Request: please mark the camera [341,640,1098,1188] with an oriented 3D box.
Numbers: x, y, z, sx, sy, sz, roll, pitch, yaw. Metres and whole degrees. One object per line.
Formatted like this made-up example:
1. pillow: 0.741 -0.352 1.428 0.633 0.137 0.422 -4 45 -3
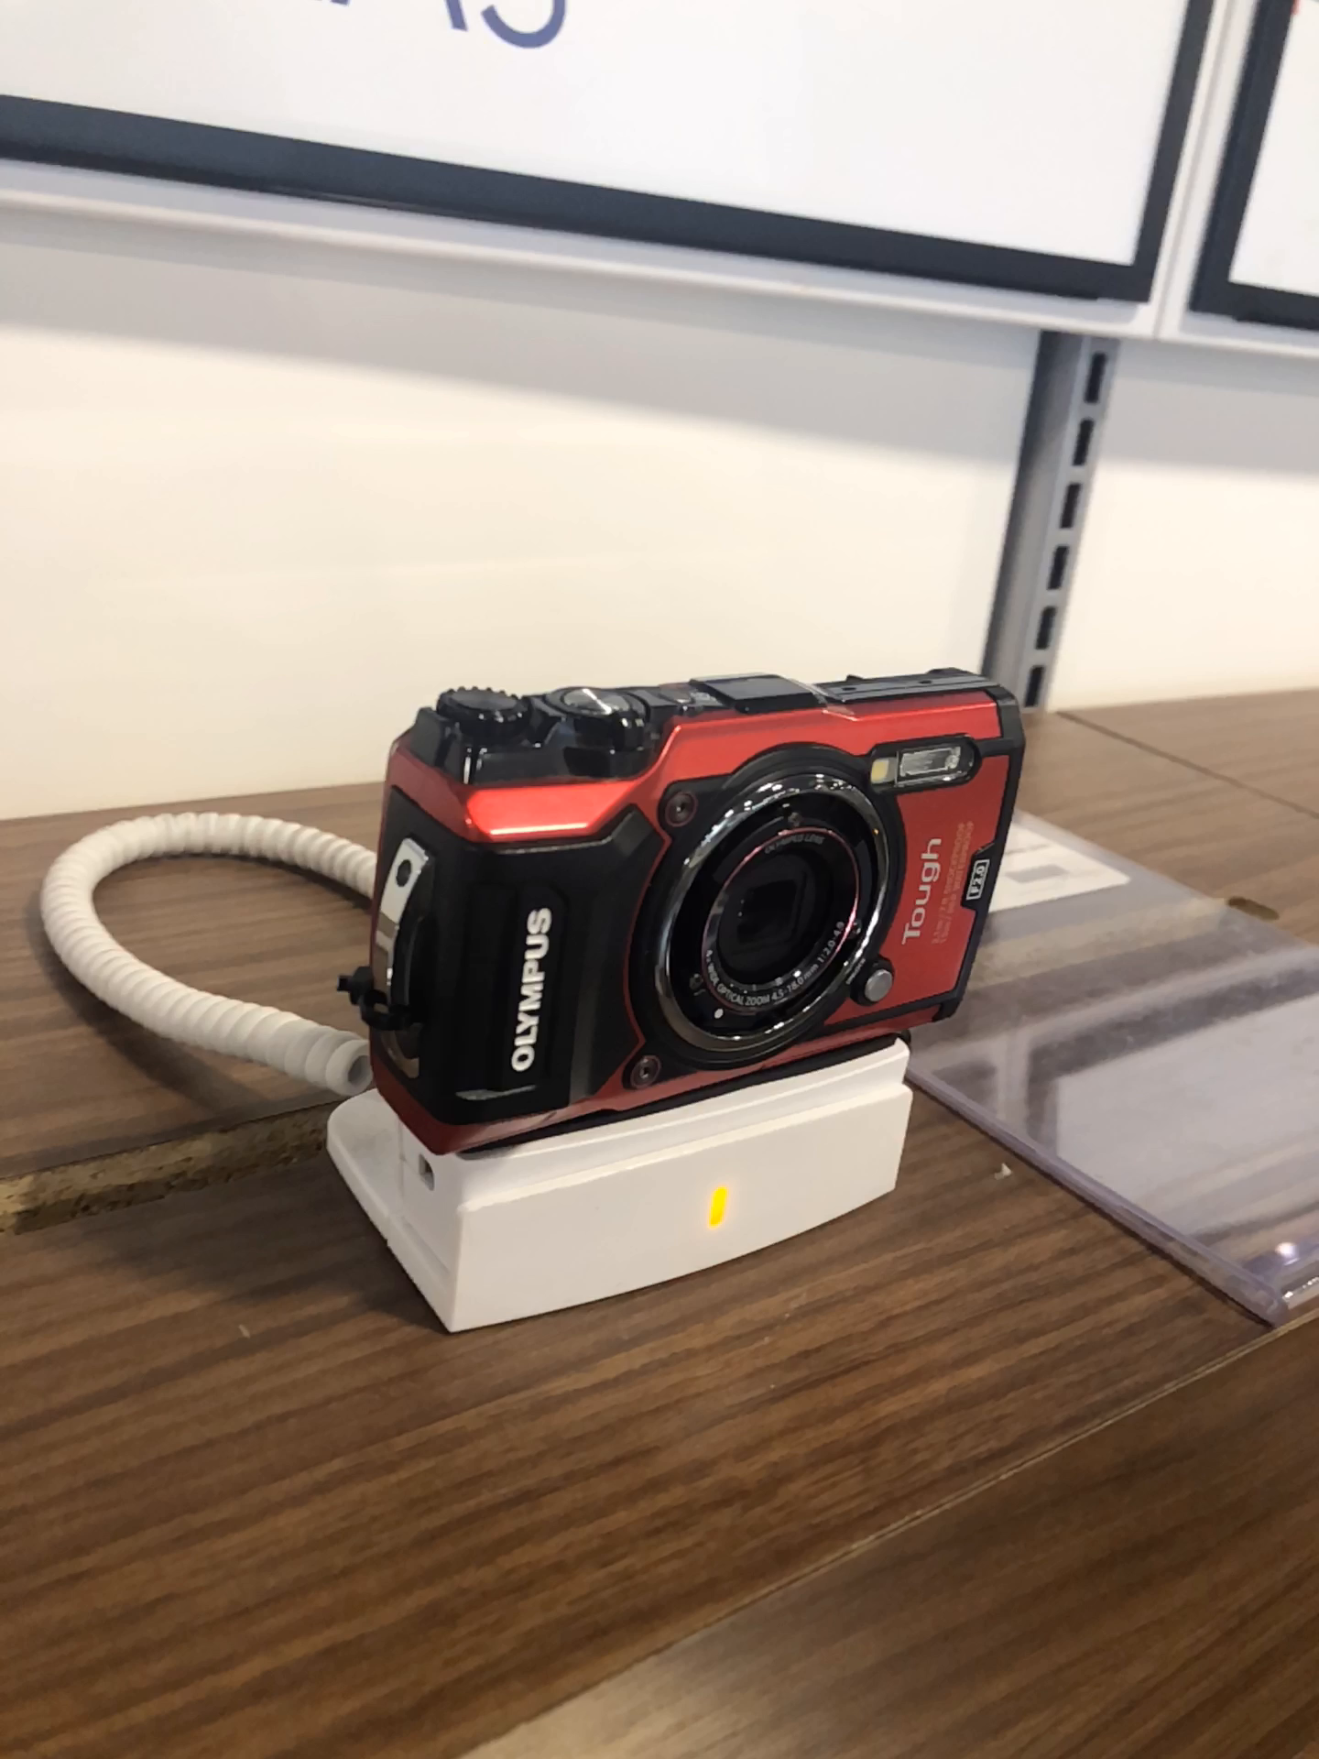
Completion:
1. camera: 0.012 -0.001 0.230 0.117 0.064 0.030 -8 25 -33
